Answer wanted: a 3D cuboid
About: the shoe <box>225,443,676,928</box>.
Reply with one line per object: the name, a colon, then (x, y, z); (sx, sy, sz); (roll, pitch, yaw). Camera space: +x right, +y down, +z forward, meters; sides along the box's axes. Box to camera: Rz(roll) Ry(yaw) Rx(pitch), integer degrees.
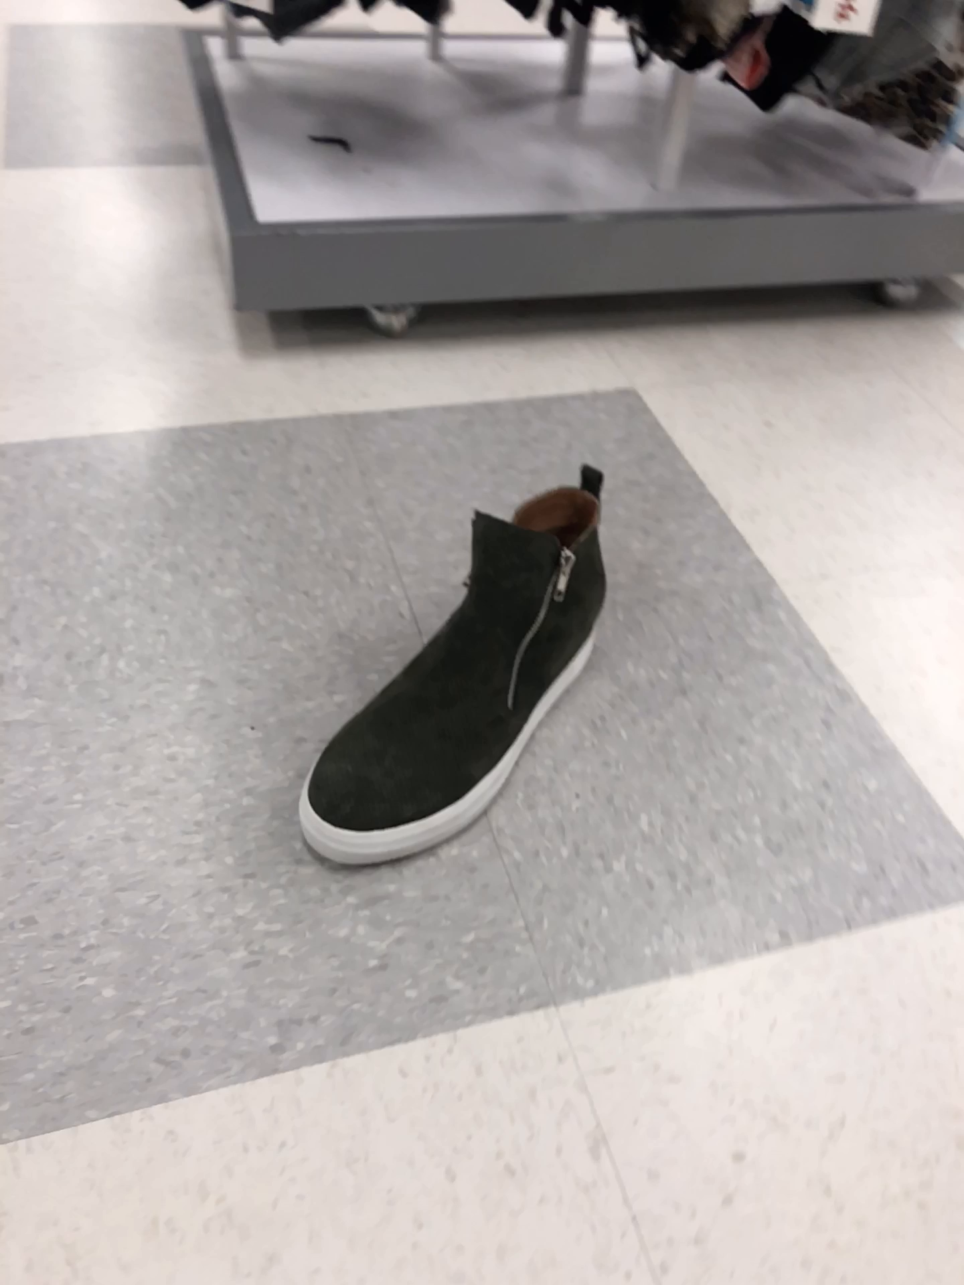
shoe: (-0.010, 0.014, 0.679); (0.109, 0.141, 0.293); (31, 49, 23)
